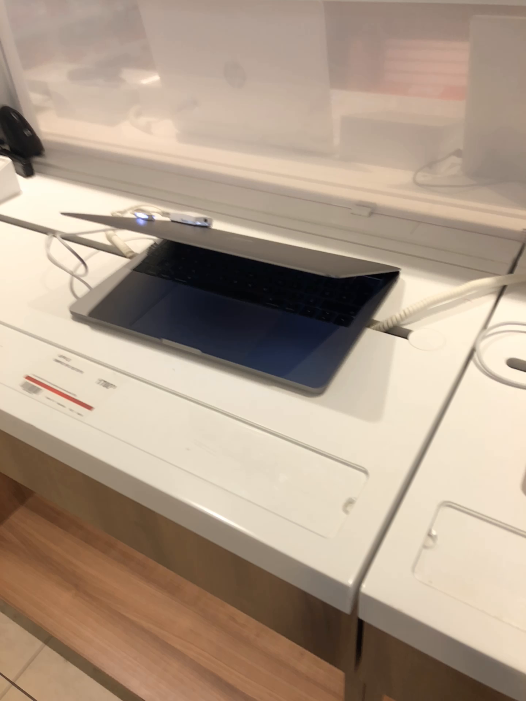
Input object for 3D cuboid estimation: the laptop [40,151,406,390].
[{"bbox_3d":[-0.035,-0.104,0.602,0.304,0.104,0.202,16,44,25],"label":"laptop"}]
